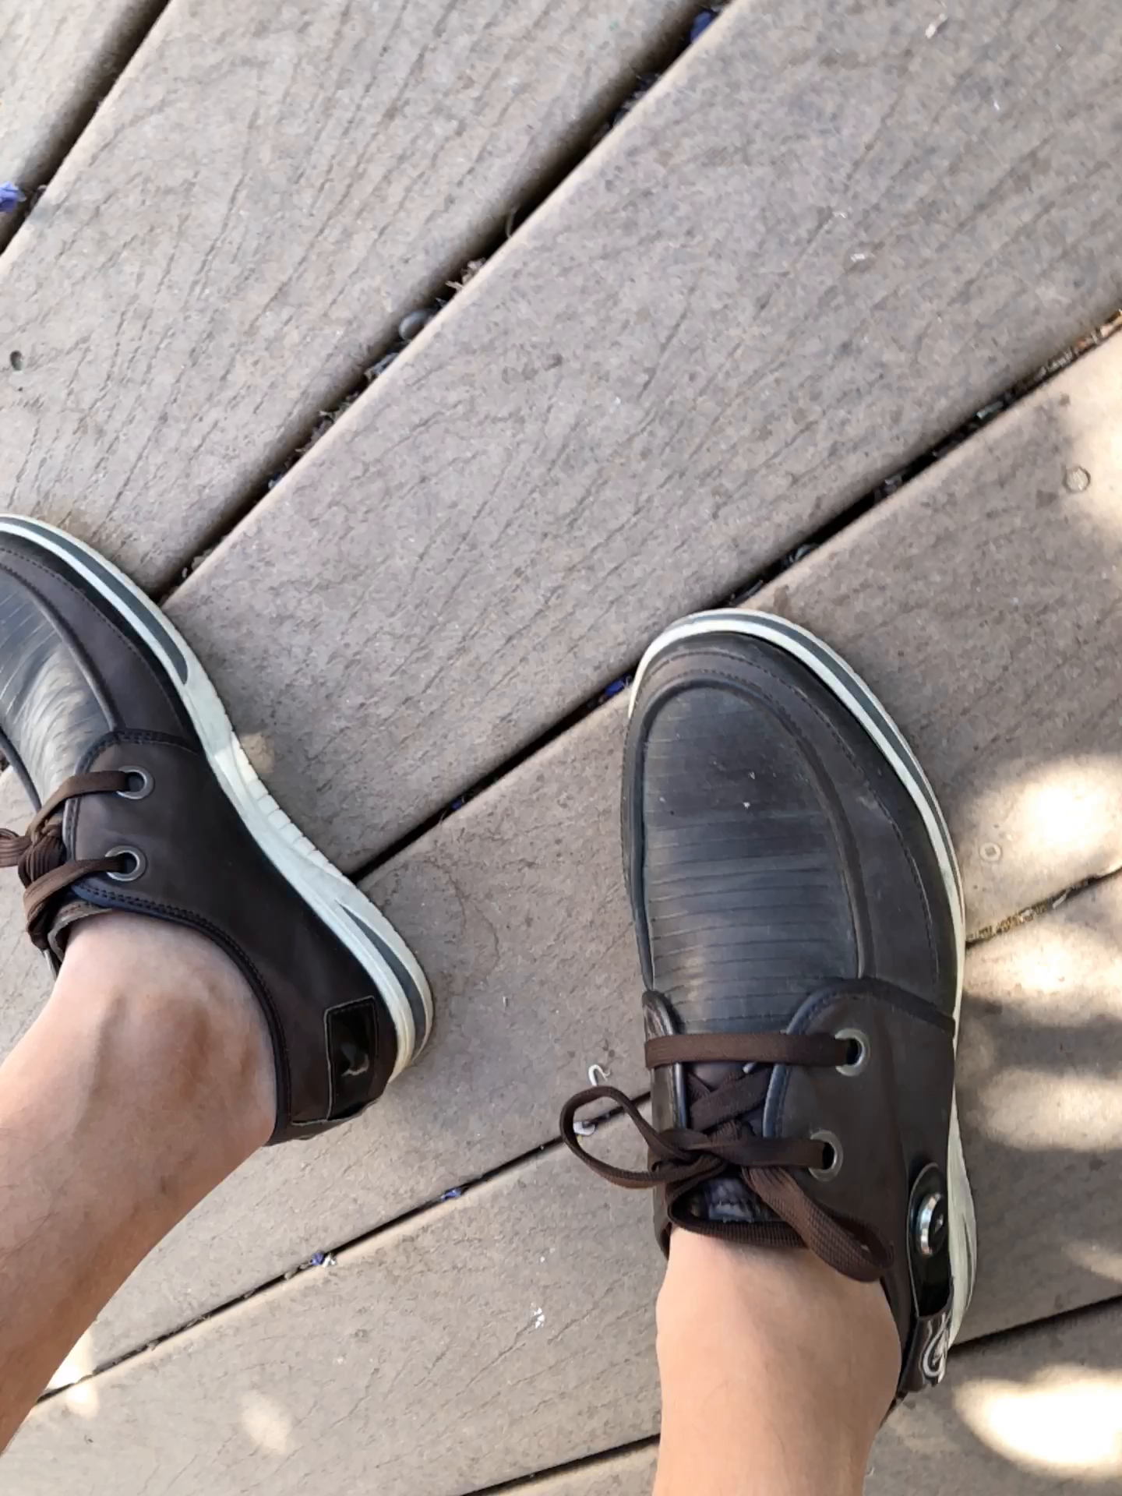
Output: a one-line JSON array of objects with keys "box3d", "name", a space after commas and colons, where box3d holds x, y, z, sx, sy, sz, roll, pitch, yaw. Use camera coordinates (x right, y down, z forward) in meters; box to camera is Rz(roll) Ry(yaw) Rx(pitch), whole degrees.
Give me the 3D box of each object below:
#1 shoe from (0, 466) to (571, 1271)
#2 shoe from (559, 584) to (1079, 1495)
[{"box3d": [-0.142, 0.039, 0.470, 0.283, 0.096, 0.104, 49, 120, 2], "name": "shoe"}, {"box3d": [0.090, 0.100, 0.381, 0.104, 0.089, 0.277, -4, 106, 26], "name": "shoe"}]
